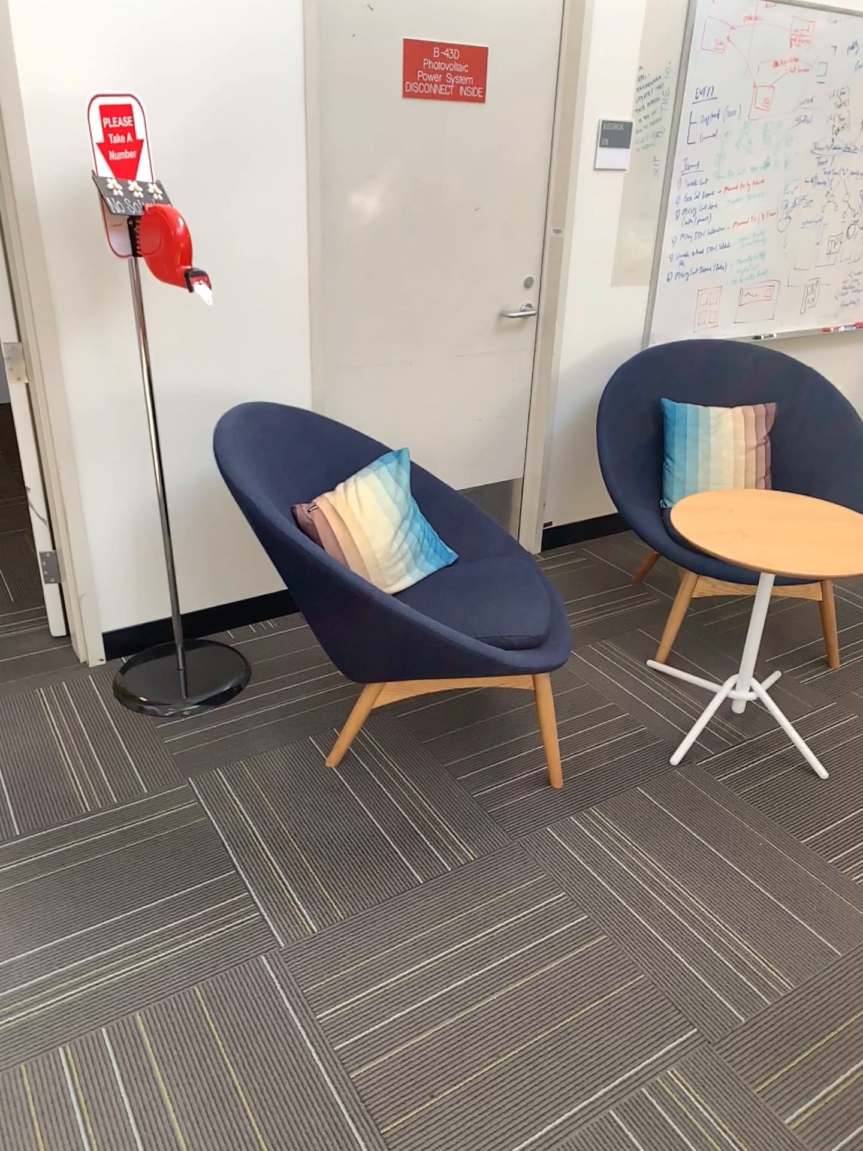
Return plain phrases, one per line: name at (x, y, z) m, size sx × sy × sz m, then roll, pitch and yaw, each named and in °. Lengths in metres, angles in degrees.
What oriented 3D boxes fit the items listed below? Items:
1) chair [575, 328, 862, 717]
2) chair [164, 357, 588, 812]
chair at (0.959, -0.244, 2.982) m, size 0.830 × 0.945 × 0.985 m, roll 6°, pitch 26°, yaw 7°
chair at (-0.089, -0.031, 2.253) m, size 0.840 × 0.835 × 0.794 m, roll 4°, pitch 26°, yaw 5°
